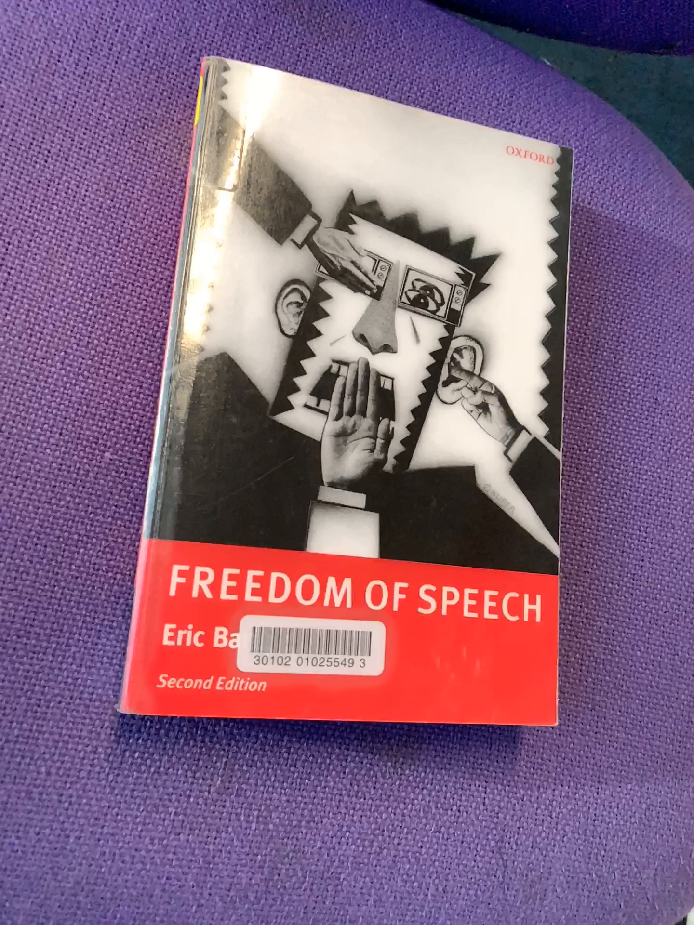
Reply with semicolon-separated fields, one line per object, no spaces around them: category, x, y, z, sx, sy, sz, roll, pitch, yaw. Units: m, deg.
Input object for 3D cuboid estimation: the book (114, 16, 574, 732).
book;0.007;-0.029;0.288;0.160;0.050;0.250;8;78;-17
